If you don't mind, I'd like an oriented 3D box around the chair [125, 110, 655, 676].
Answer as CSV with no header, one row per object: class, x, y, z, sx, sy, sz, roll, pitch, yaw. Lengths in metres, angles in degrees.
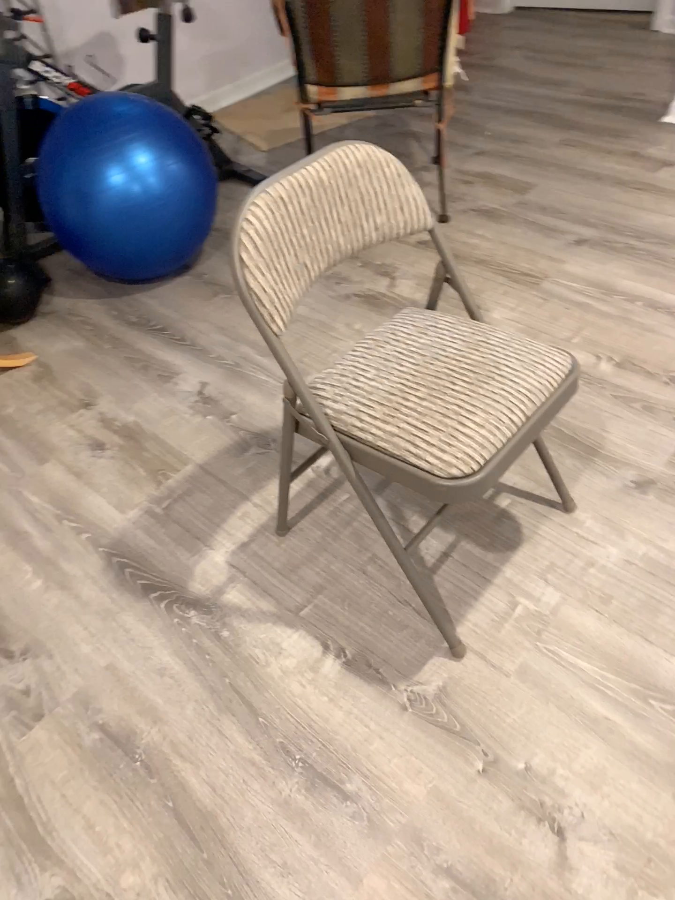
chair,0.105,-0.115,1.244,0.586,0.708,0.504,27,54,31
